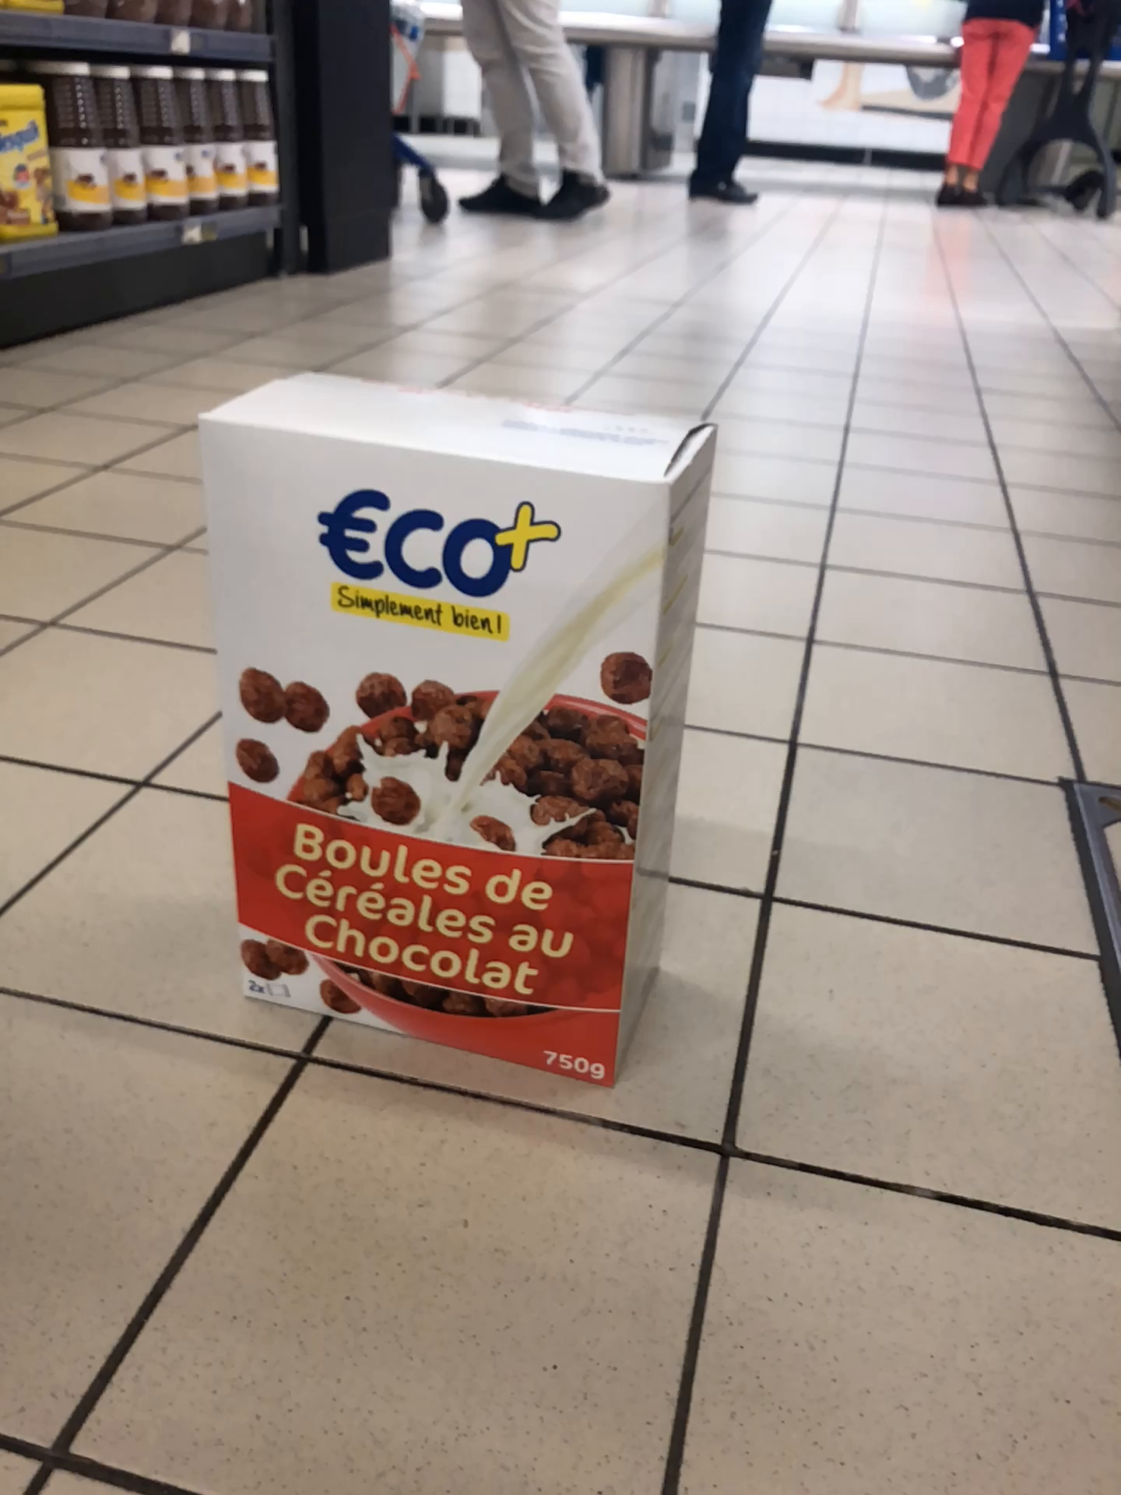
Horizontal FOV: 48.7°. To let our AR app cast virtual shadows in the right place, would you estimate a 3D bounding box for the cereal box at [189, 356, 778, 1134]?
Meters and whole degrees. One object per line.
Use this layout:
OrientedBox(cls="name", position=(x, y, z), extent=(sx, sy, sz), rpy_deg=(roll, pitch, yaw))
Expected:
OrientedBox(cls="cereal box", position=(-0.036, -0.002, 0.555), extent=(0.210, 0.298, 0.101), rpy_deg=(12, 28, 15))
